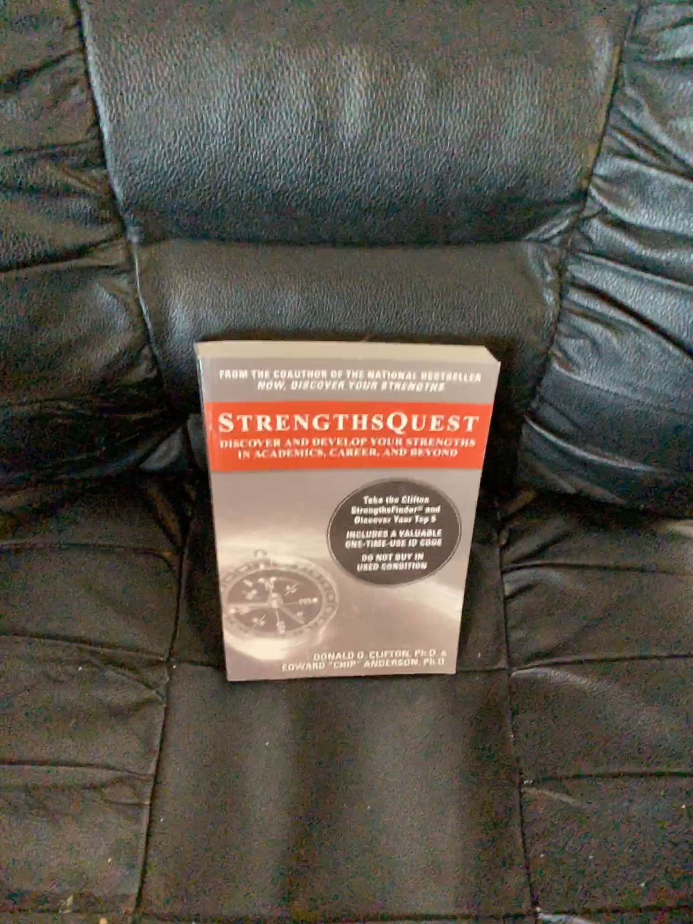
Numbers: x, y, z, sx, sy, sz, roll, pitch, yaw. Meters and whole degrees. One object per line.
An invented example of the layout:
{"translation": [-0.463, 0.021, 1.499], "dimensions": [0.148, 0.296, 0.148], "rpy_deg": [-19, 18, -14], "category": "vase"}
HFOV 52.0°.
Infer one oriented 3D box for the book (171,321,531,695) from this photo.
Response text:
{"translation": [0.003, 0.039, 0.412], "dimensions": [0.170, 0.239, 0.030], "rpy_deg": [-2, 33, -2], "category": "book"}
